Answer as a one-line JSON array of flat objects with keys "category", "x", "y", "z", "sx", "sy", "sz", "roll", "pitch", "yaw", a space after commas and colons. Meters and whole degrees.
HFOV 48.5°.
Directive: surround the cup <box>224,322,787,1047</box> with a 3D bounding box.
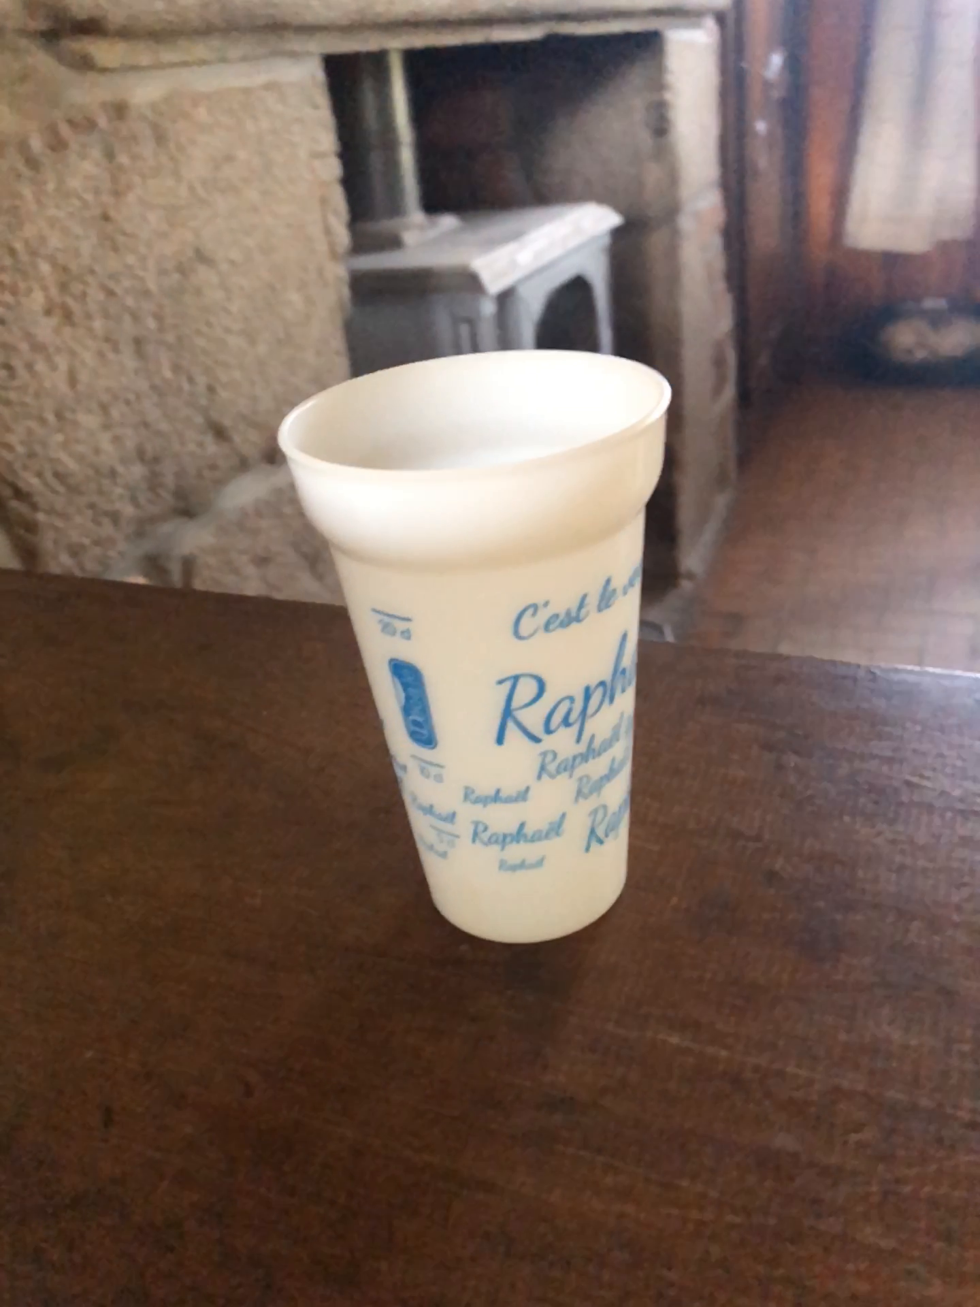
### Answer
[{"category": "cup", "x": 0.006, "y": 0.000, "z": 0.242, "sx": 0.080, "sy": 0.119, "sz": 0.080, "roll": -5, "pitch": 28, "yaw": 3}]
